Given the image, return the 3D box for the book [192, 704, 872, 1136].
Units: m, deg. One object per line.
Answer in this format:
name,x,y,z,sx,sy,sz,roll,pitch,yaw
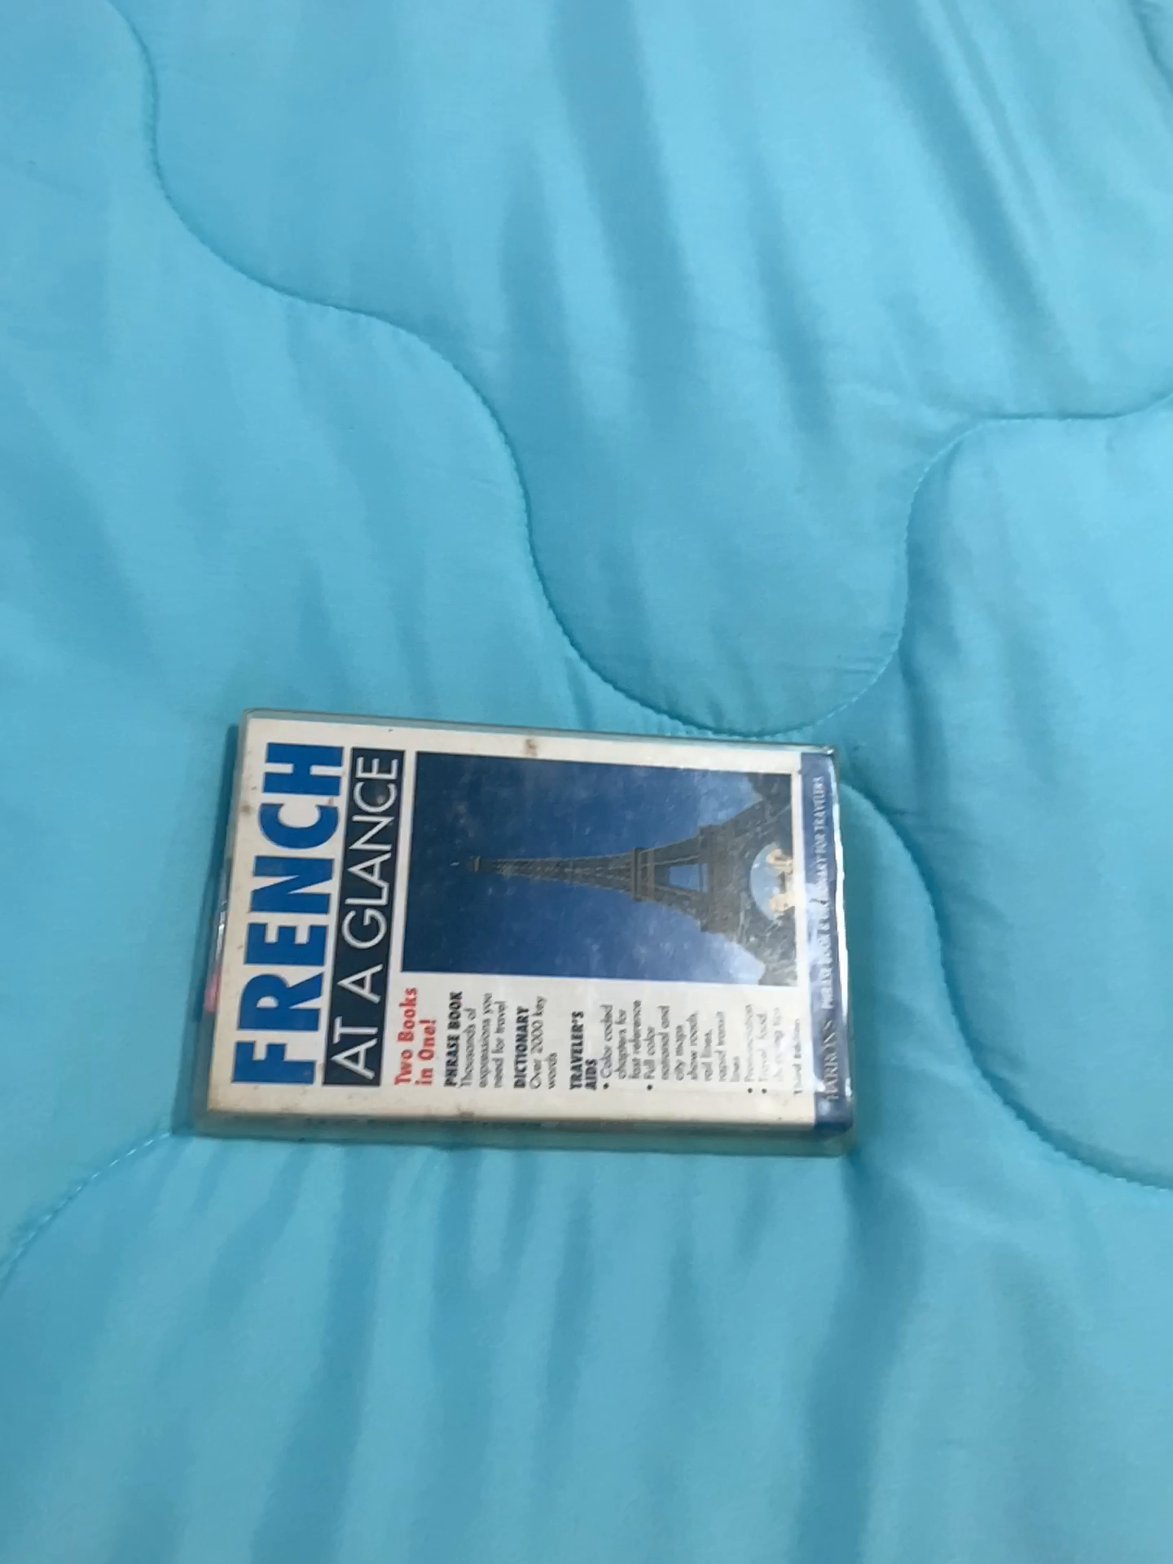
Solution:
book,-0.010,0.034,0.294,0.154,0.017,0.099,2,73,-8
